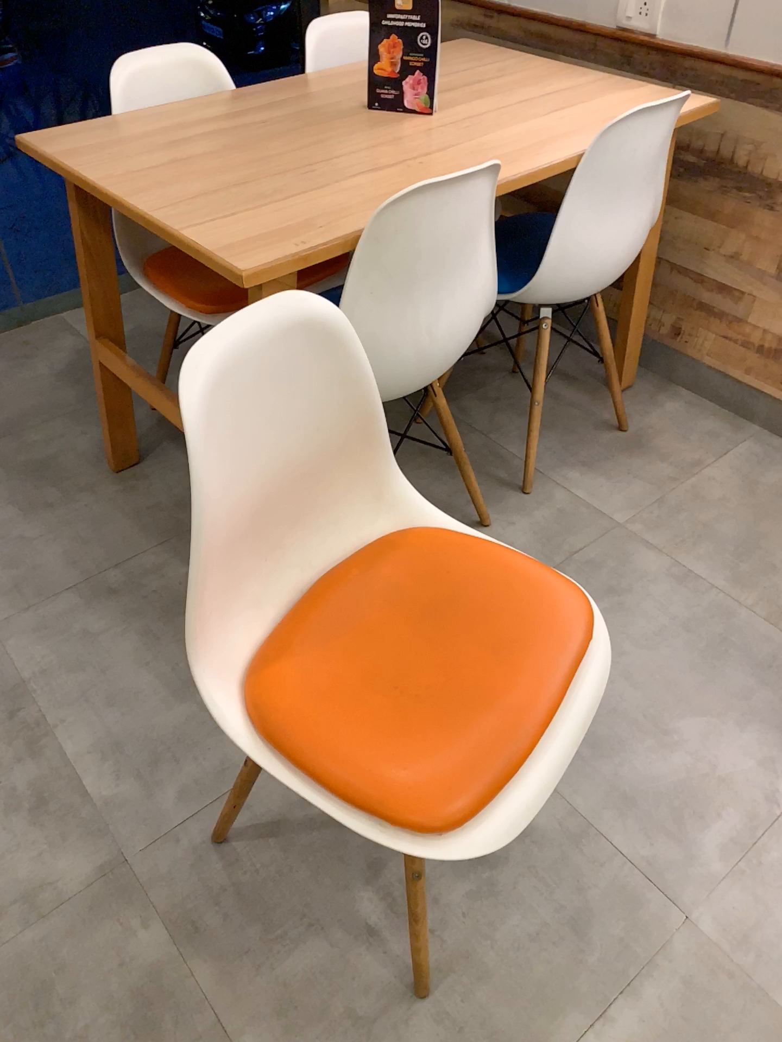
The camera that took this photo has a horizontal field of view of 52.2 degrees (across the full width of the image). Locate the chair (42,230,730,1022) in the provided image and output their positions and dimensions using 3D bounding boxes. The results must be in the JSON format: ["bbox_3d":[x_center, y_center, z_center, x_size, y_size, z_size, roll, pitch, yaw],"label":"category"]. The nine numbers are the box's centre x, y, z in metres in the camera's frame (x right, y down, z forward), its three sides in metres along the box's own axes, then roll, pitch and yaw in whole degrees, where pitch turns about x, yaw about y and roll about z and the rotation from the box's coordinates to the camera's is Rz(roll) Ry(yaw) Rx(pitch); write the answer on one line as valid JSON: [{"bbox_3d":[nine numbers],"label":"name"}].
[{"bbox_3d":[0.012,0.130,0.959,0.451,0.724,0.442,24,47,25],"label":"chair"}]
